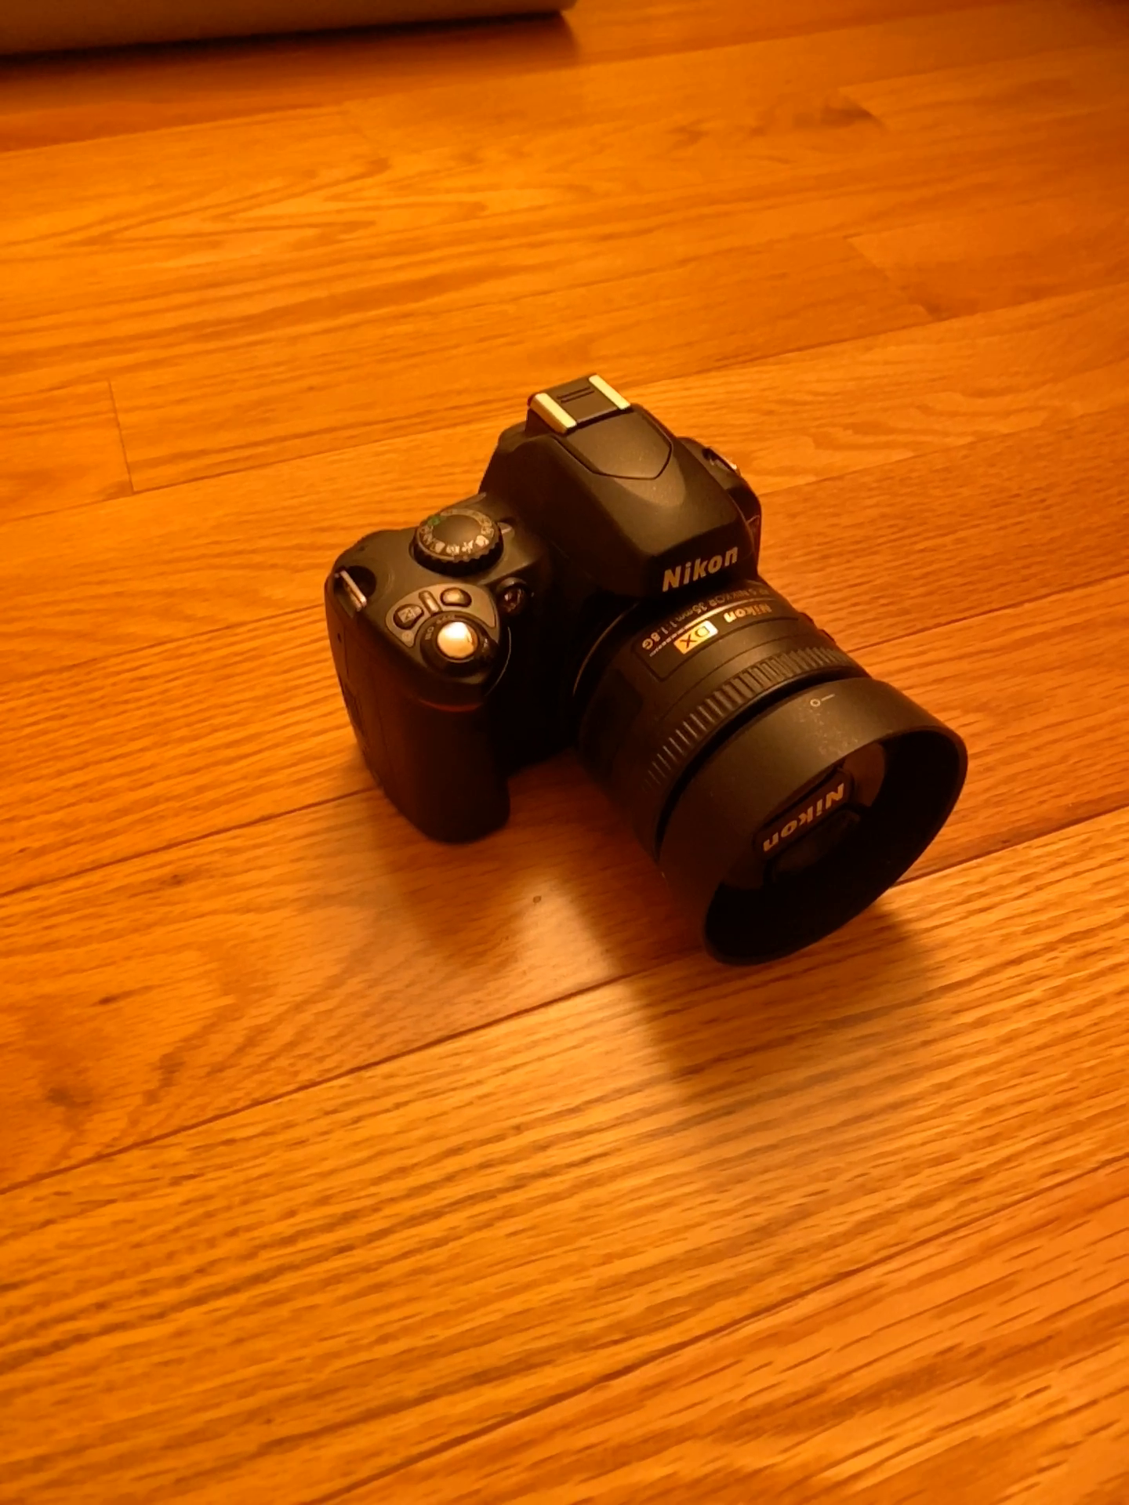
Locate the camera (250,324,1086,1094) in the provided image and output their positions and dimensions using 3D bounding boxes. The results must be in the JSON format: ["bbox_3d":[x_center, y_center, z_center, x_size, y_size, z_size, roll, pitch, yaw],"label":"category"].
[{"bbox_3d":[0.016,-0.021,0.289,0.130,0.080,0.141,-24,52,-19],"label":"camera"}]
